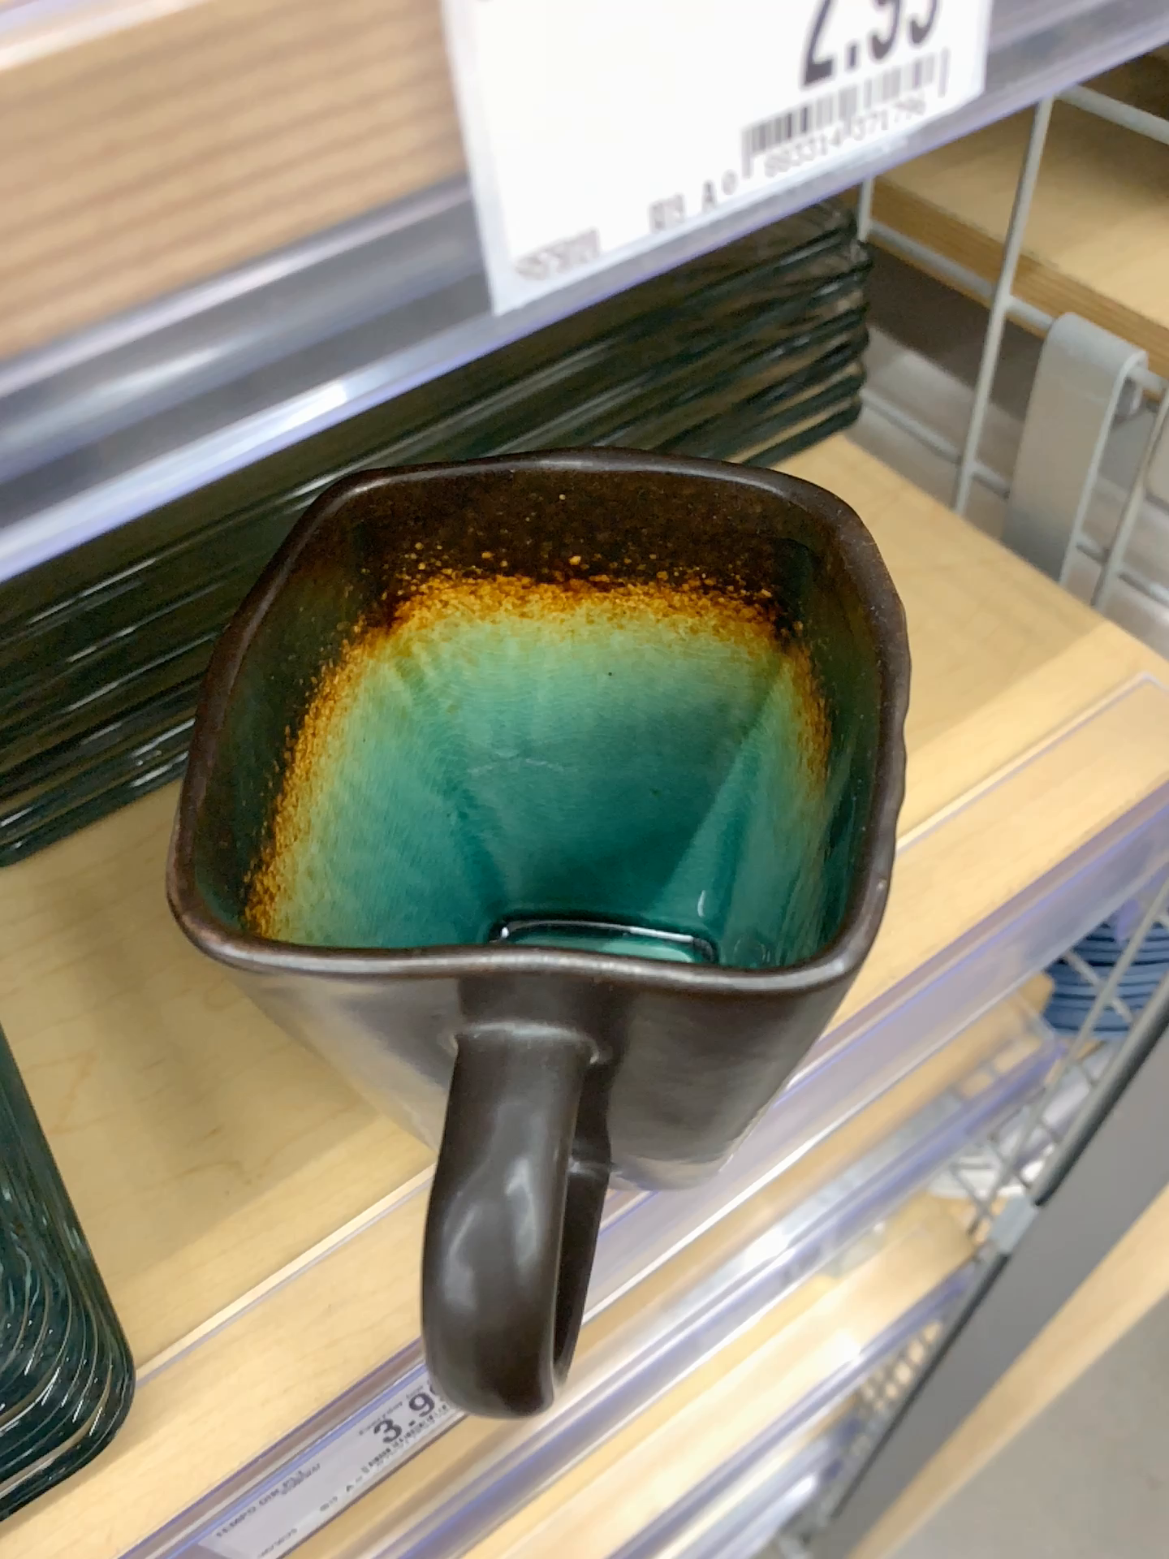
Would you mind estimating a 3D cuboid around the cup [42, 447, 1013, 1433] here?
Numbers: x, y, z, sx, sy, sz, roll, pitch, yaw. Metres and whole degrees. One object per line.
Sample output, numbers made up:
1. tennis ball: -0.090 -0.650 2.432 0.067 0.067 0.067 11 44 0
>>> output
1. cup: -0.001 0.026 0.182 0.088 0.099 0.108 0 52 4
